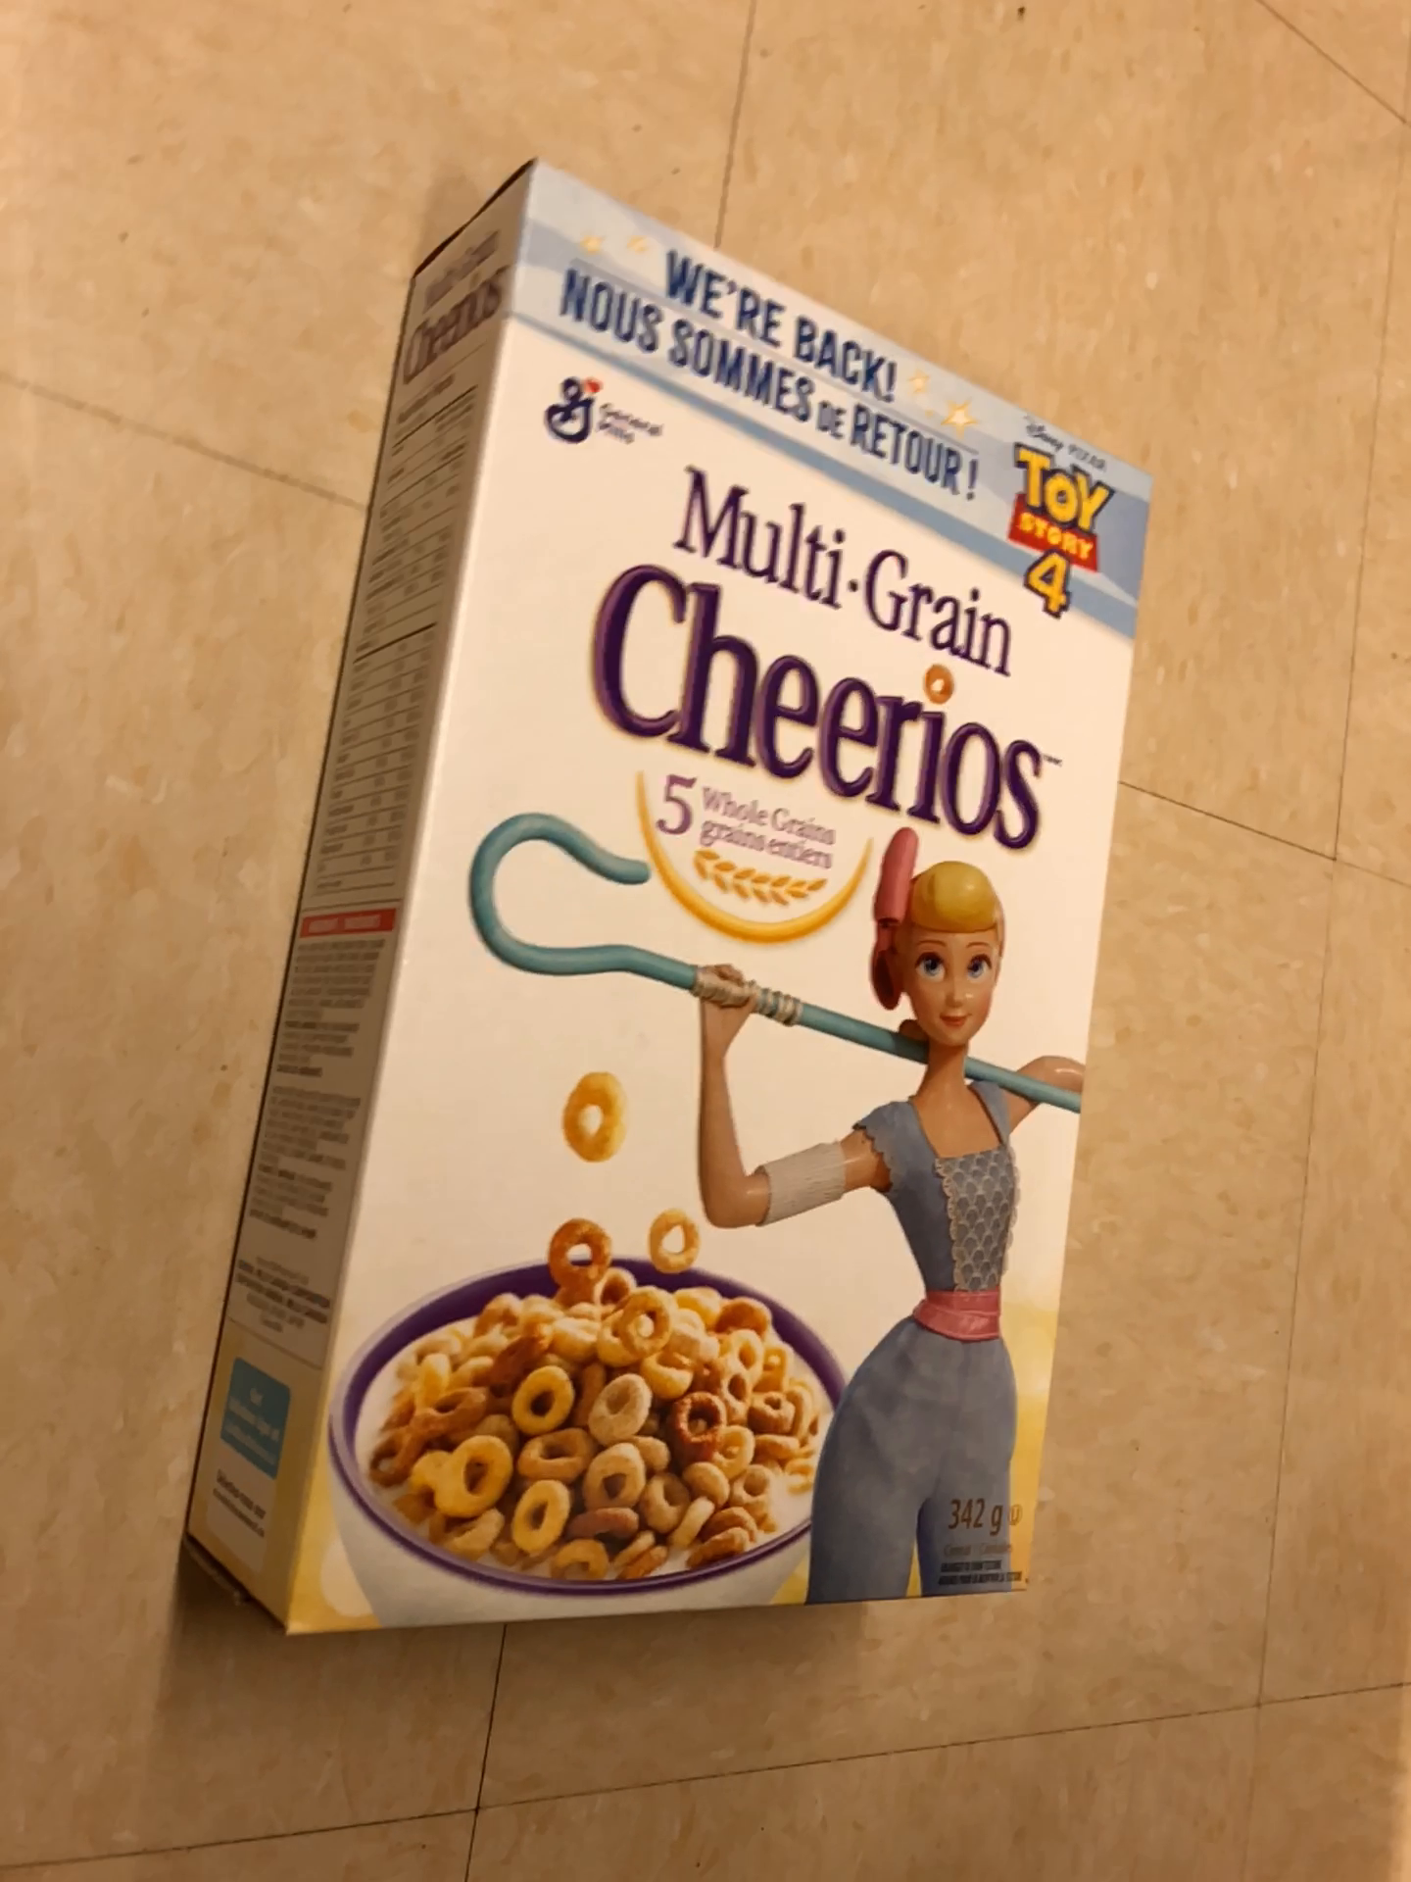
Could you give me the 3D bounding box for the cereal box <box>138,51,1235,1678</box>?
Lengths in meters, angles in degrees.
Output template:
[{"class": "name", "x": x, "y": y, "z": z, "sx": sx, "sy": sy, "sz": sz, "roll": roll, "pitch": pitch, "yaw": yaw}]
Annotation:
[{"class": "cereal box", "x": 0.012, "y": -0.003, "z": 0.357, "sx": 0.211, "sy": 0.070, "sz": 0.290, "roll": 12, "pitch": 82, "yaw": -33}]
